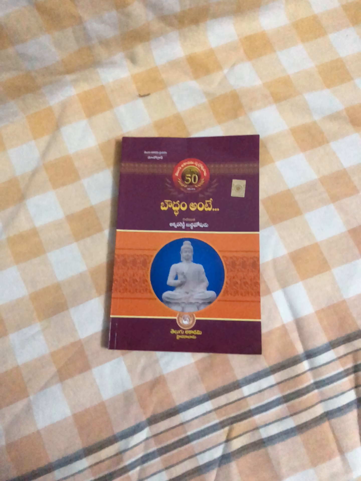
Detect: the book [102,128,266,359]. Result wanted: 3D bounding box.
[{"bbox_3d":[0.007,-0.003,0.422,0.160,0.020,0.240,2,78,1],"label":"book"}]
